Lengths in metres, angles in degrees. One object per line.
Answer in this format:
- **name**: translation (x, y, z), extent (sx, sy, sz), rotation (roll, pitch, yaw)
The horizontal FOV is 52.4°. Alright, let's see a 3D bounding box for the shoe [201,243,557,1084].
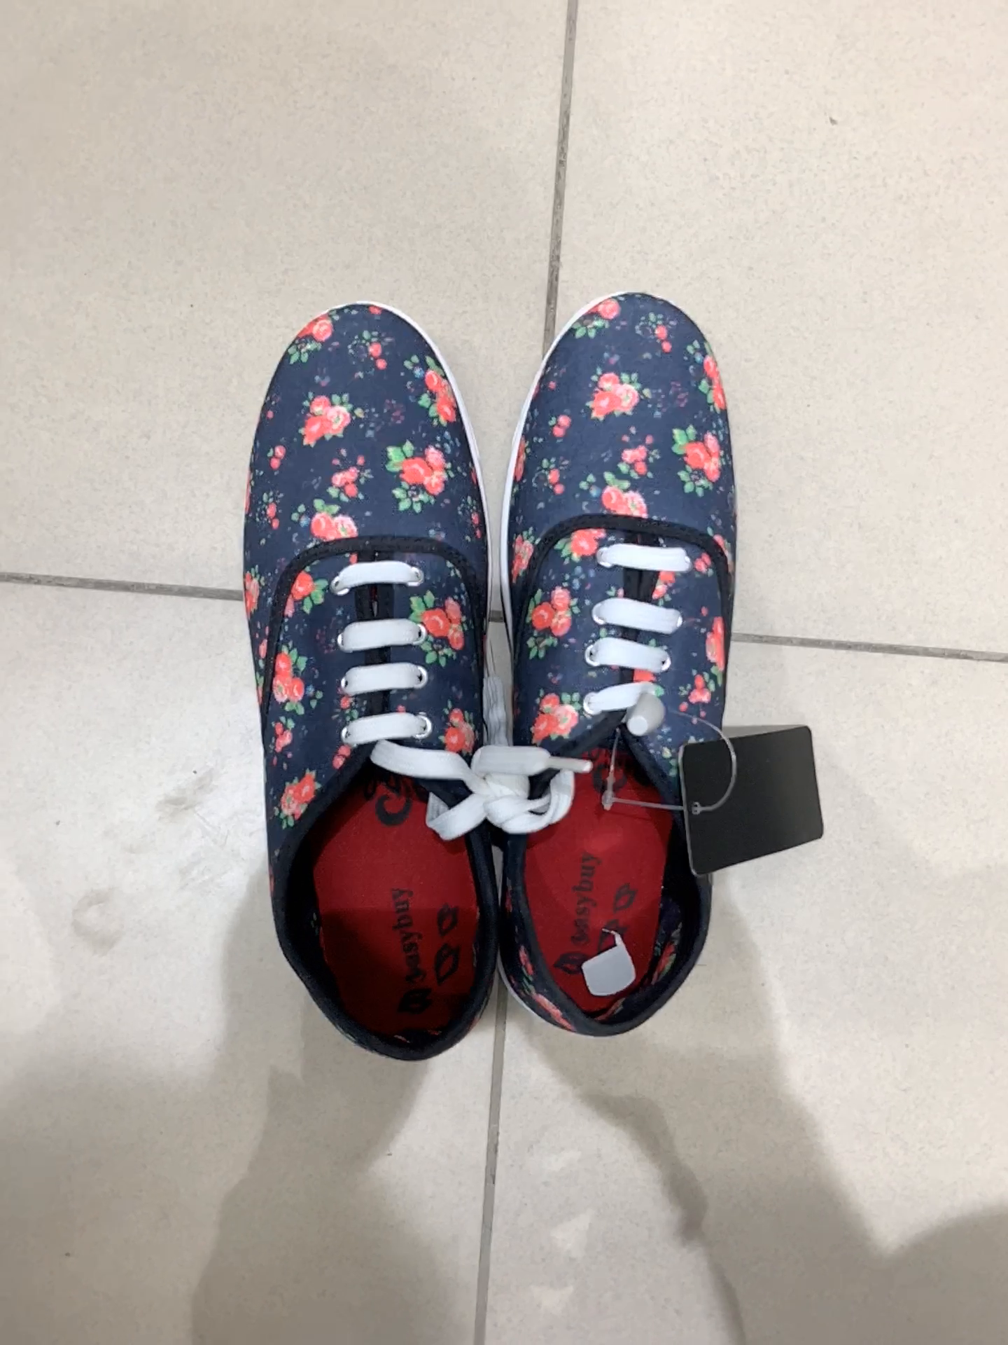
- **shoe**: translation (-0.044, -0.005, 0.375), extent (0.100, 0.080, 0.270), rotation (-4, 87, -4)

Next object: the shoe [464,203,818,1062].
- **shoe**: translation (0.044, -0.013, 0.367), extent (0.100, 0.080, 0.270), rotation (3, 87, -3)
